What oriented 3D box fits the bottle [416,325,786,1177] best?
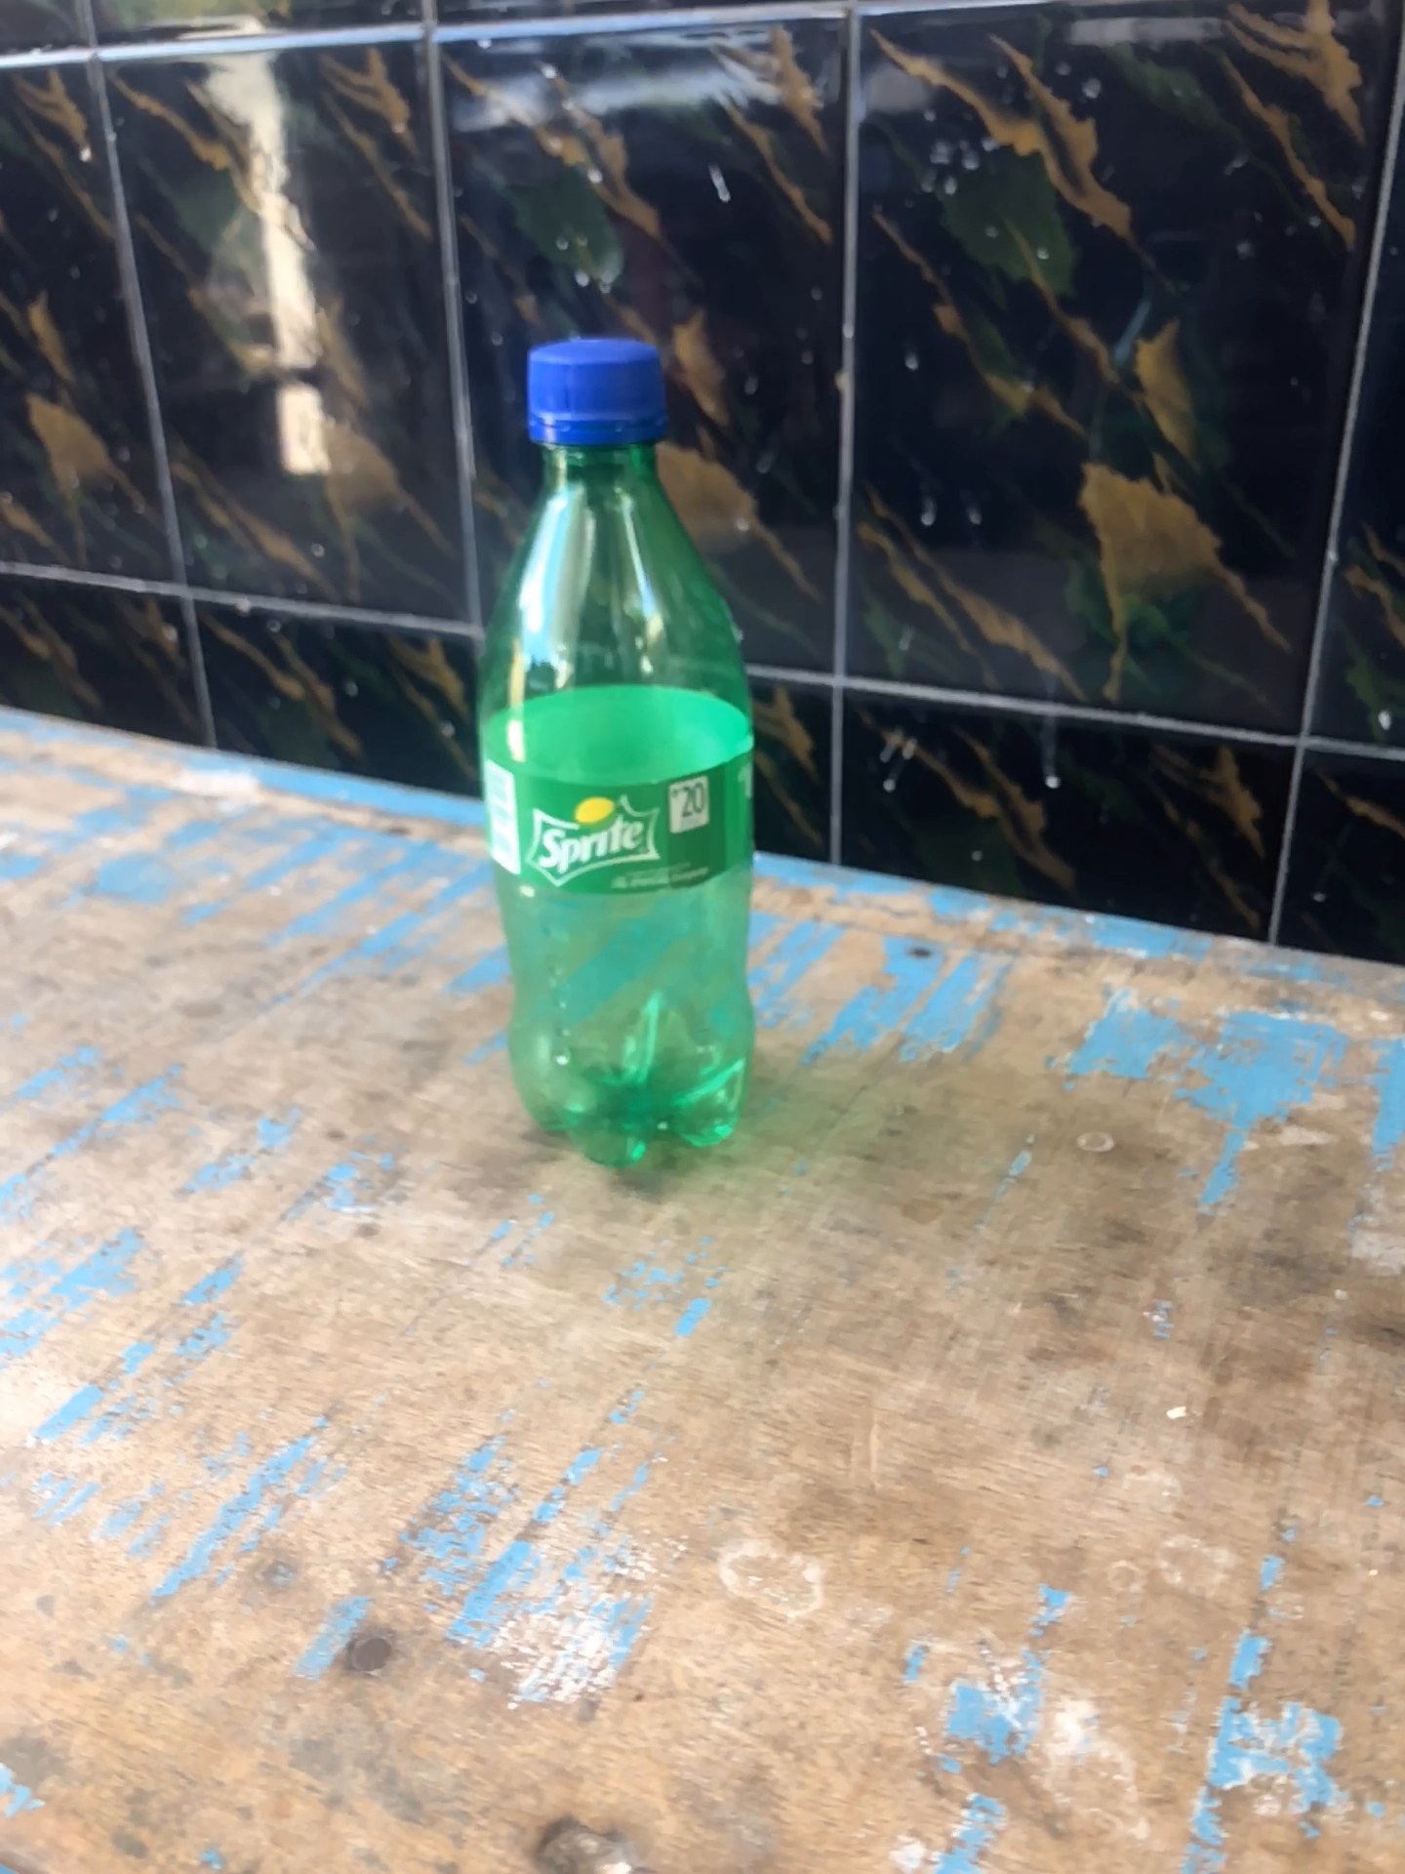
[{"bbox_3d":[-0.016,-0.034,0.316,0.060,0.159,0.050,-3,26,-2],"label":"bottle"}]
